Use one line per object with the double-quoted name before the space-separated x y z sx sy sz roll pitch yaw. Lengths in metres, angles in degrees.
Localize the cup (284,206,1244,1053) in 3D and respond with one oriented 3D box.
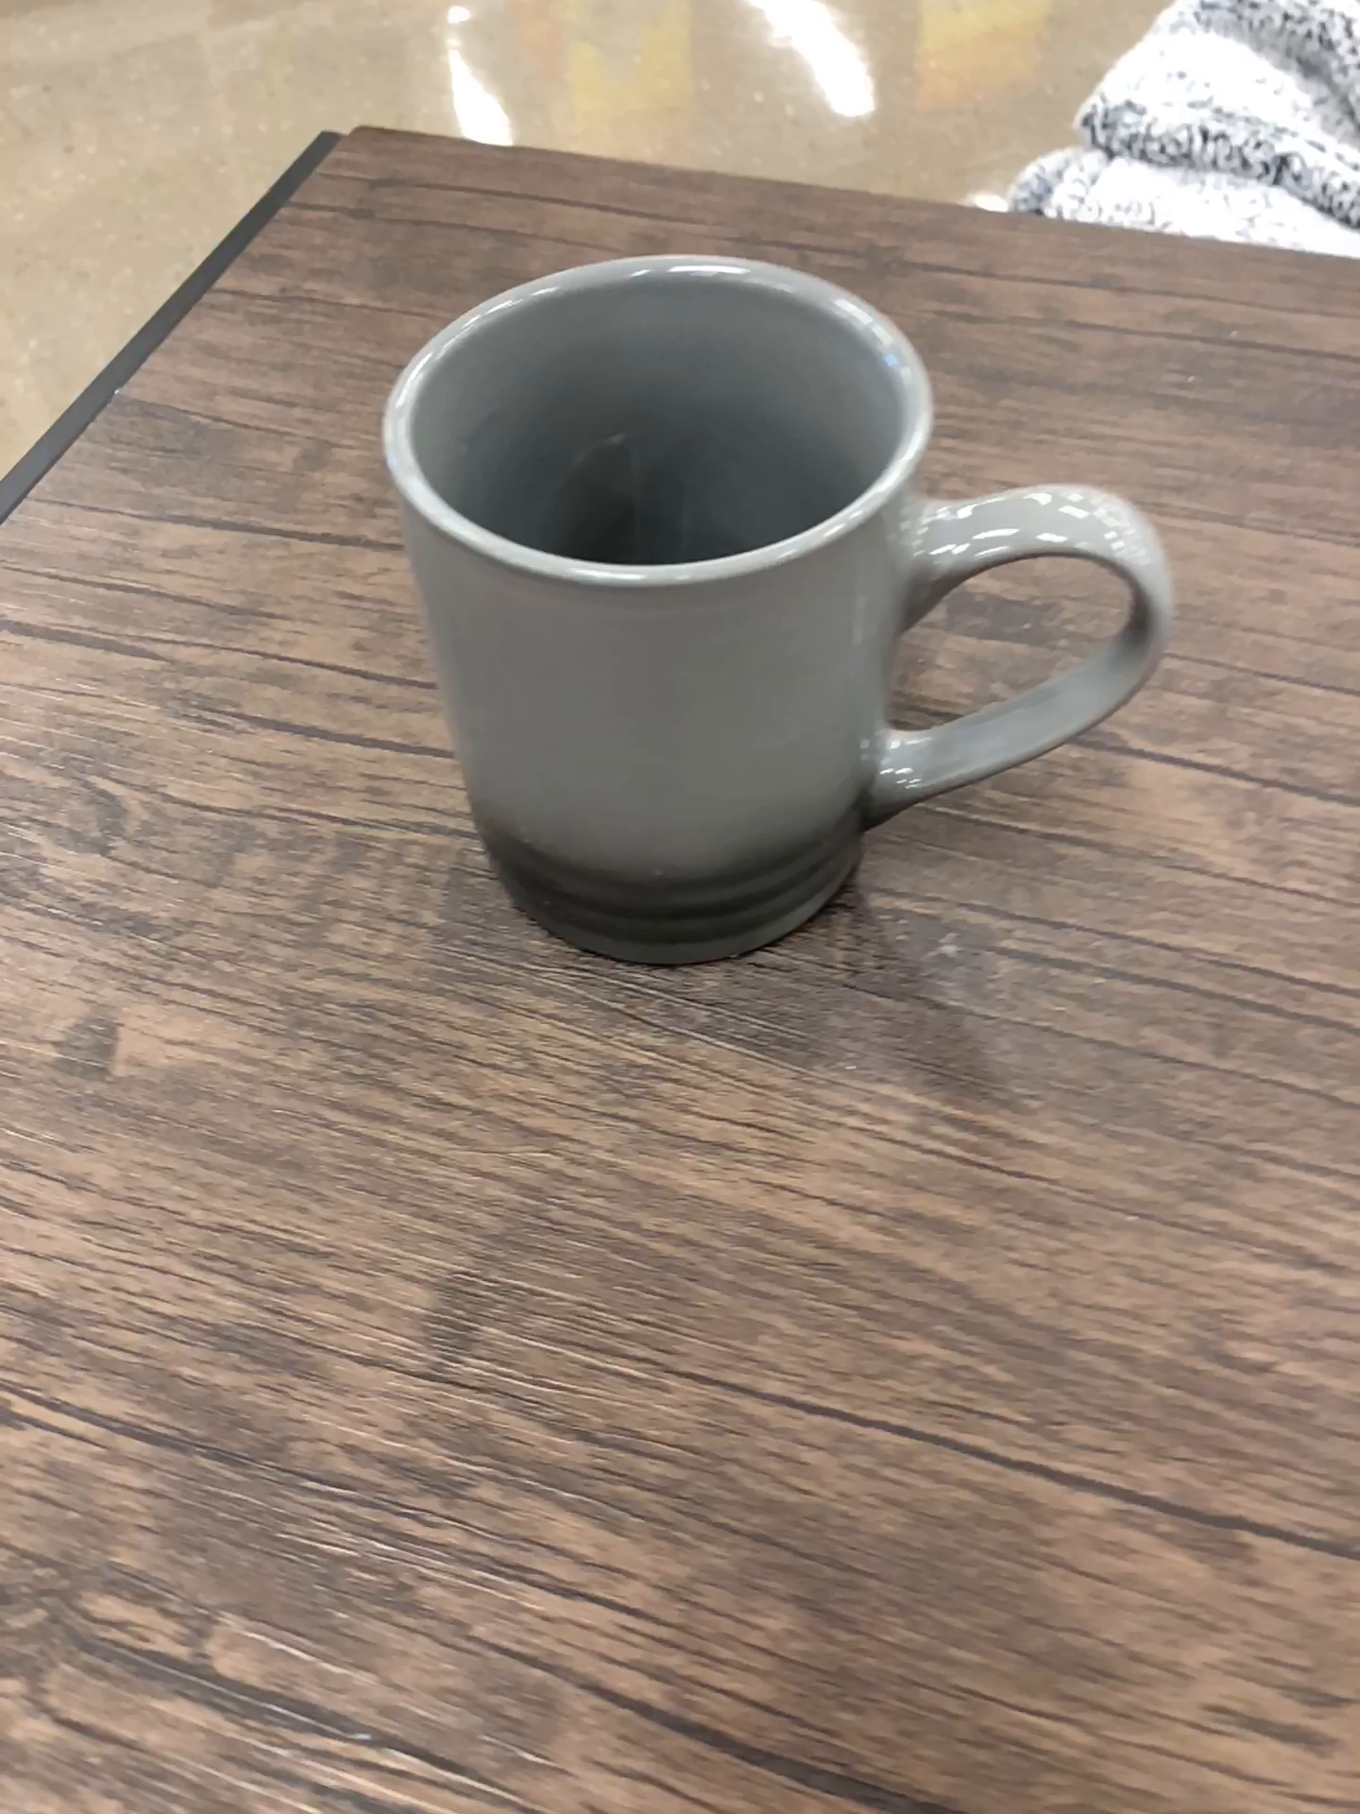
"cup" 0.016 -0.048 0.275 0.130 0.110 0.090 5 52 5
